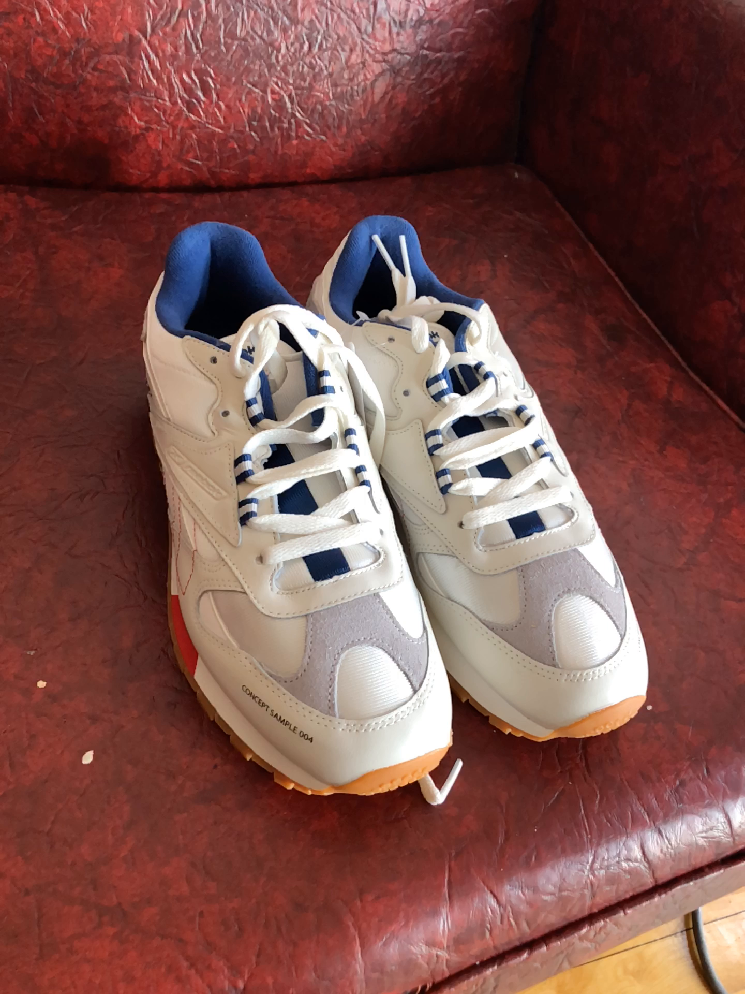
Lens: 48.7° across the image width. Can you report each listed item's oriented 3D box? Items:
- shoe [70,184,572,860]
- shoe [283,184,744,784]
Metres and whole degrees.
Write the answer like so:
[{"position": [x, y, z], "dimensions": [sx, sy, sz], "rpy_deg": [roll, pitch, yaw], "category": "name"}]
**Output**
[{"position": [-0.043, -0.007, 0.364], "dimensions": [0.110, 0.099, 0.271], "rpy_deg": [-13, 60, -22], "category": "shoe"}, {"position": [0.059, -0.023, 0.405], "dimensions": [0.110, 0.099, 0.271], "rpy_deg": [-13, 60, -22], "category": "shoe"}]
